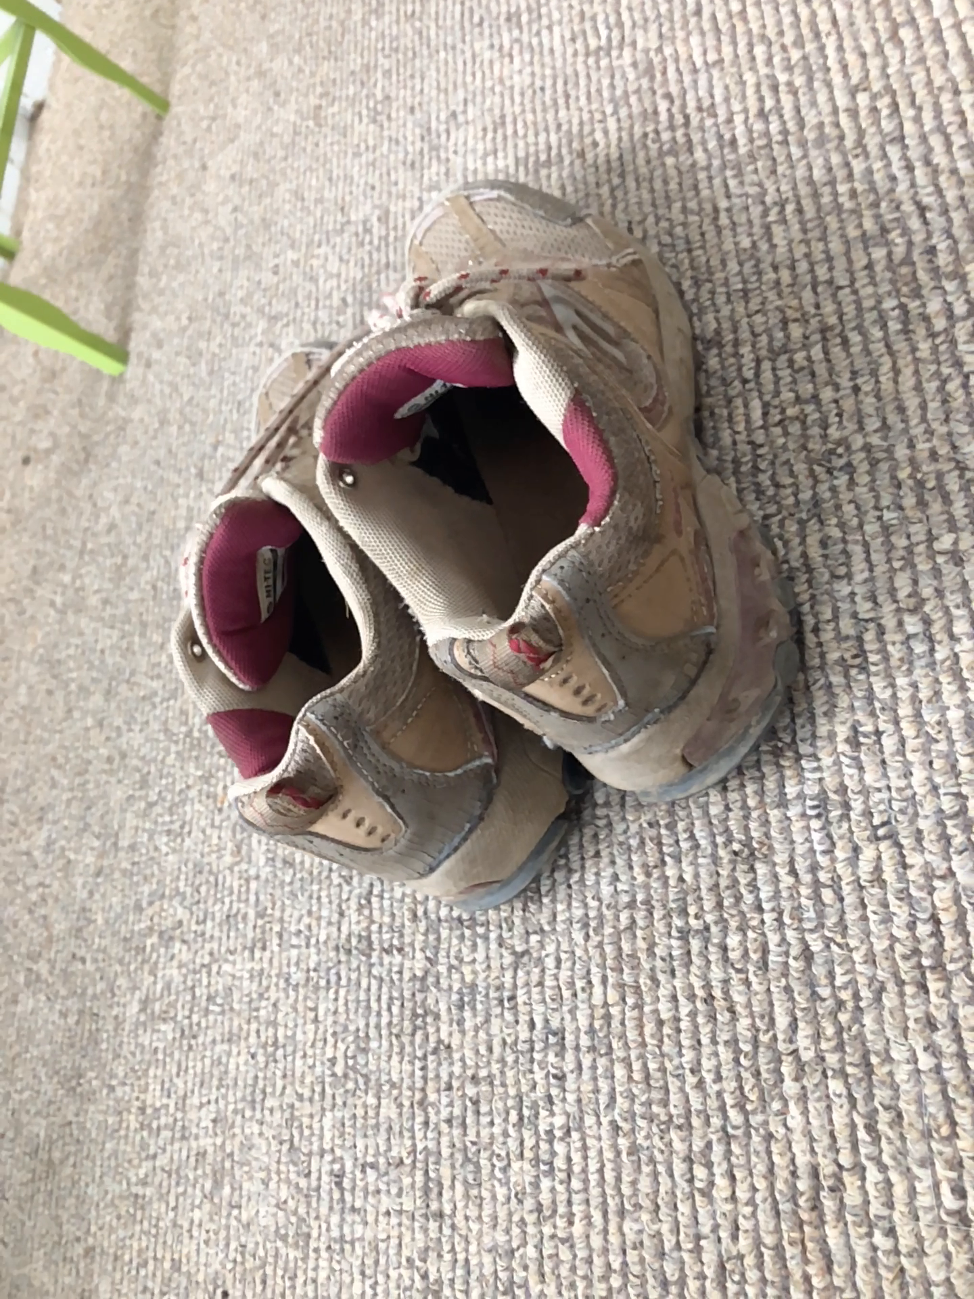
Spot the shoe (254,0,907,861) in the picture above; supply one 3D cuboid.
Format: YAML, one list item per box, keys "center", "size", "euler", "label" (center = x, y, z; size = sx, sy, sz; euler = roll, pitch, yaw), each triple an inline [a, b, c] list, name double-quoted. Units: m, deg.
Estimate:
- center: [0.015, -0.083, 0.383]
  size: [0.111, 0.123, 0.272]
  euler: [-36, 51, 28]
  label: "shoe"

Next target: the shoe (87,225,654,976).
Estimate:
- center: [-0.063, -0.027, 0.429]
  size: [0.110, 0.118, 0.271]
  euler: [-42, 48, 23]
  label: "shoe"
